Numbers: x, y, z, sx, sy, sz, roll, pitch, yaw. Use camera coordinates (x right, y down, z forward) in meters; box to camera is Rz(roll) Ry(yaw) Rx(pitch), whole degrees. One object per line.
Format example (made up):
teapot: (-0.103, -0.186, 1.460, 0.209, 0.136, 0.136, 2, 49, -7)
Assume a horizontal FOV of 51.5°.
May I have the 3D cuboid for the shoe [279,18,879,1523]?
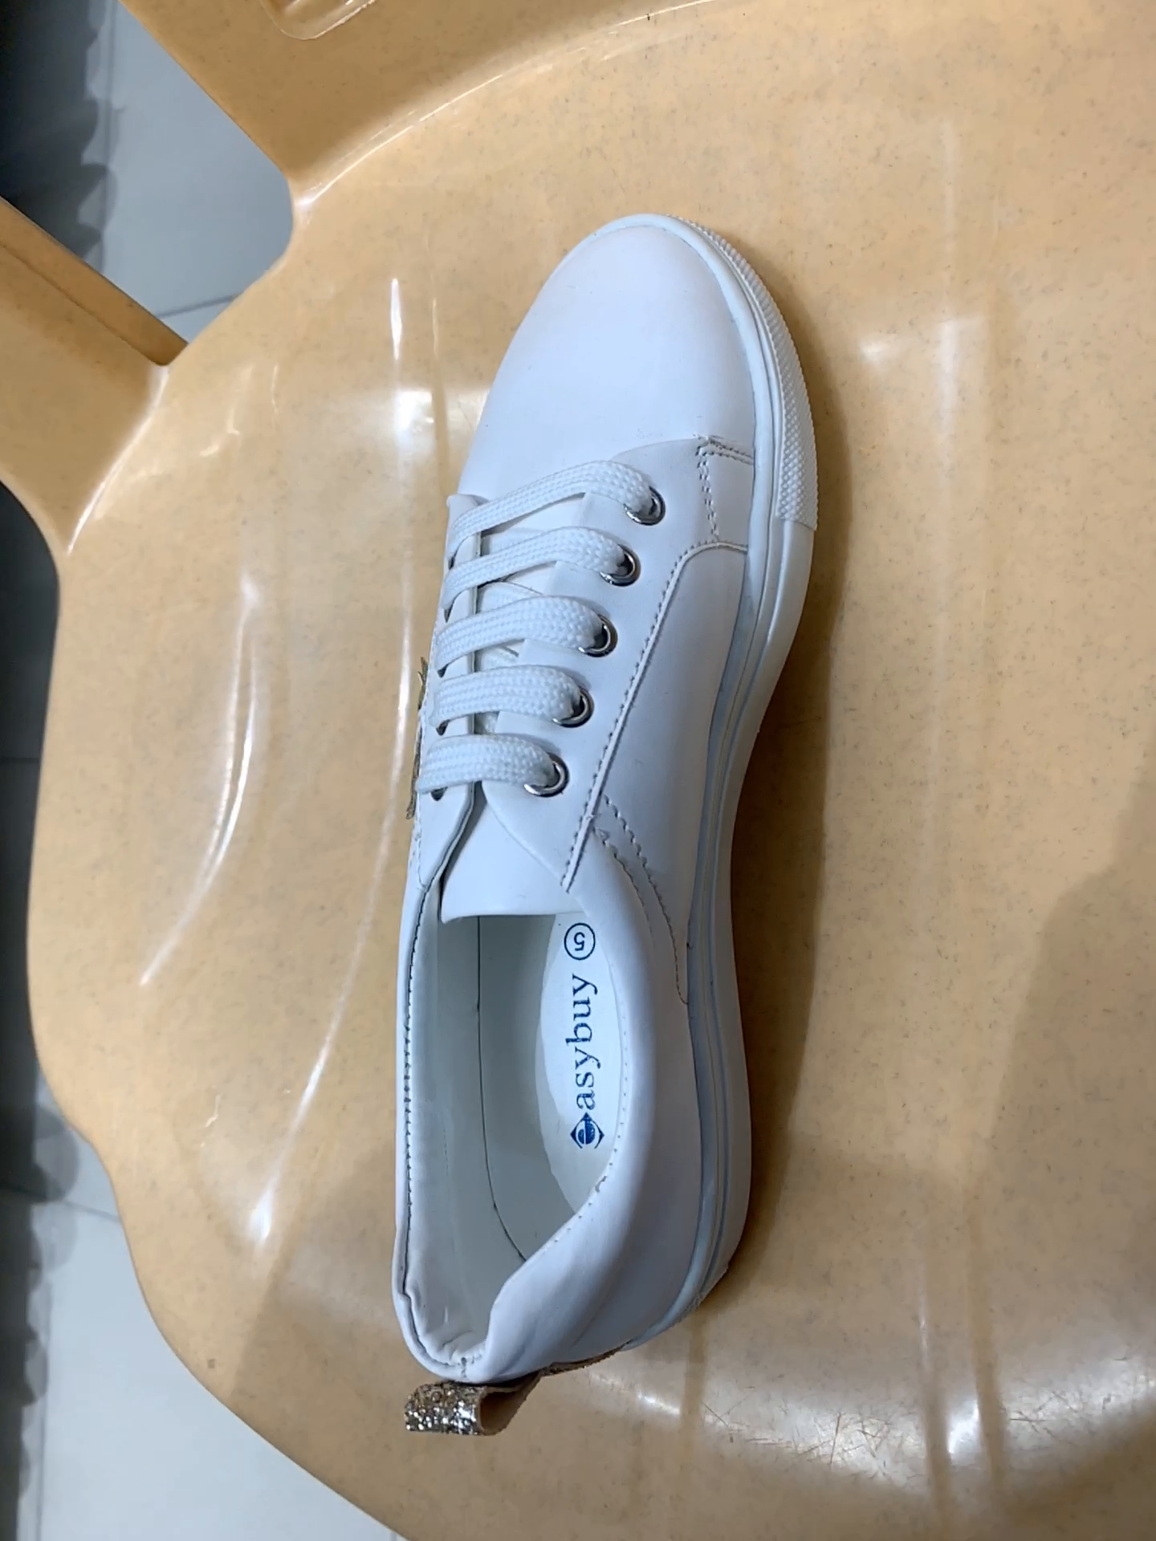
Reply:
shoe: (0.003, 0.000, 0.252, 0.090, 0.090, 0.240, -2, 86, 31)
